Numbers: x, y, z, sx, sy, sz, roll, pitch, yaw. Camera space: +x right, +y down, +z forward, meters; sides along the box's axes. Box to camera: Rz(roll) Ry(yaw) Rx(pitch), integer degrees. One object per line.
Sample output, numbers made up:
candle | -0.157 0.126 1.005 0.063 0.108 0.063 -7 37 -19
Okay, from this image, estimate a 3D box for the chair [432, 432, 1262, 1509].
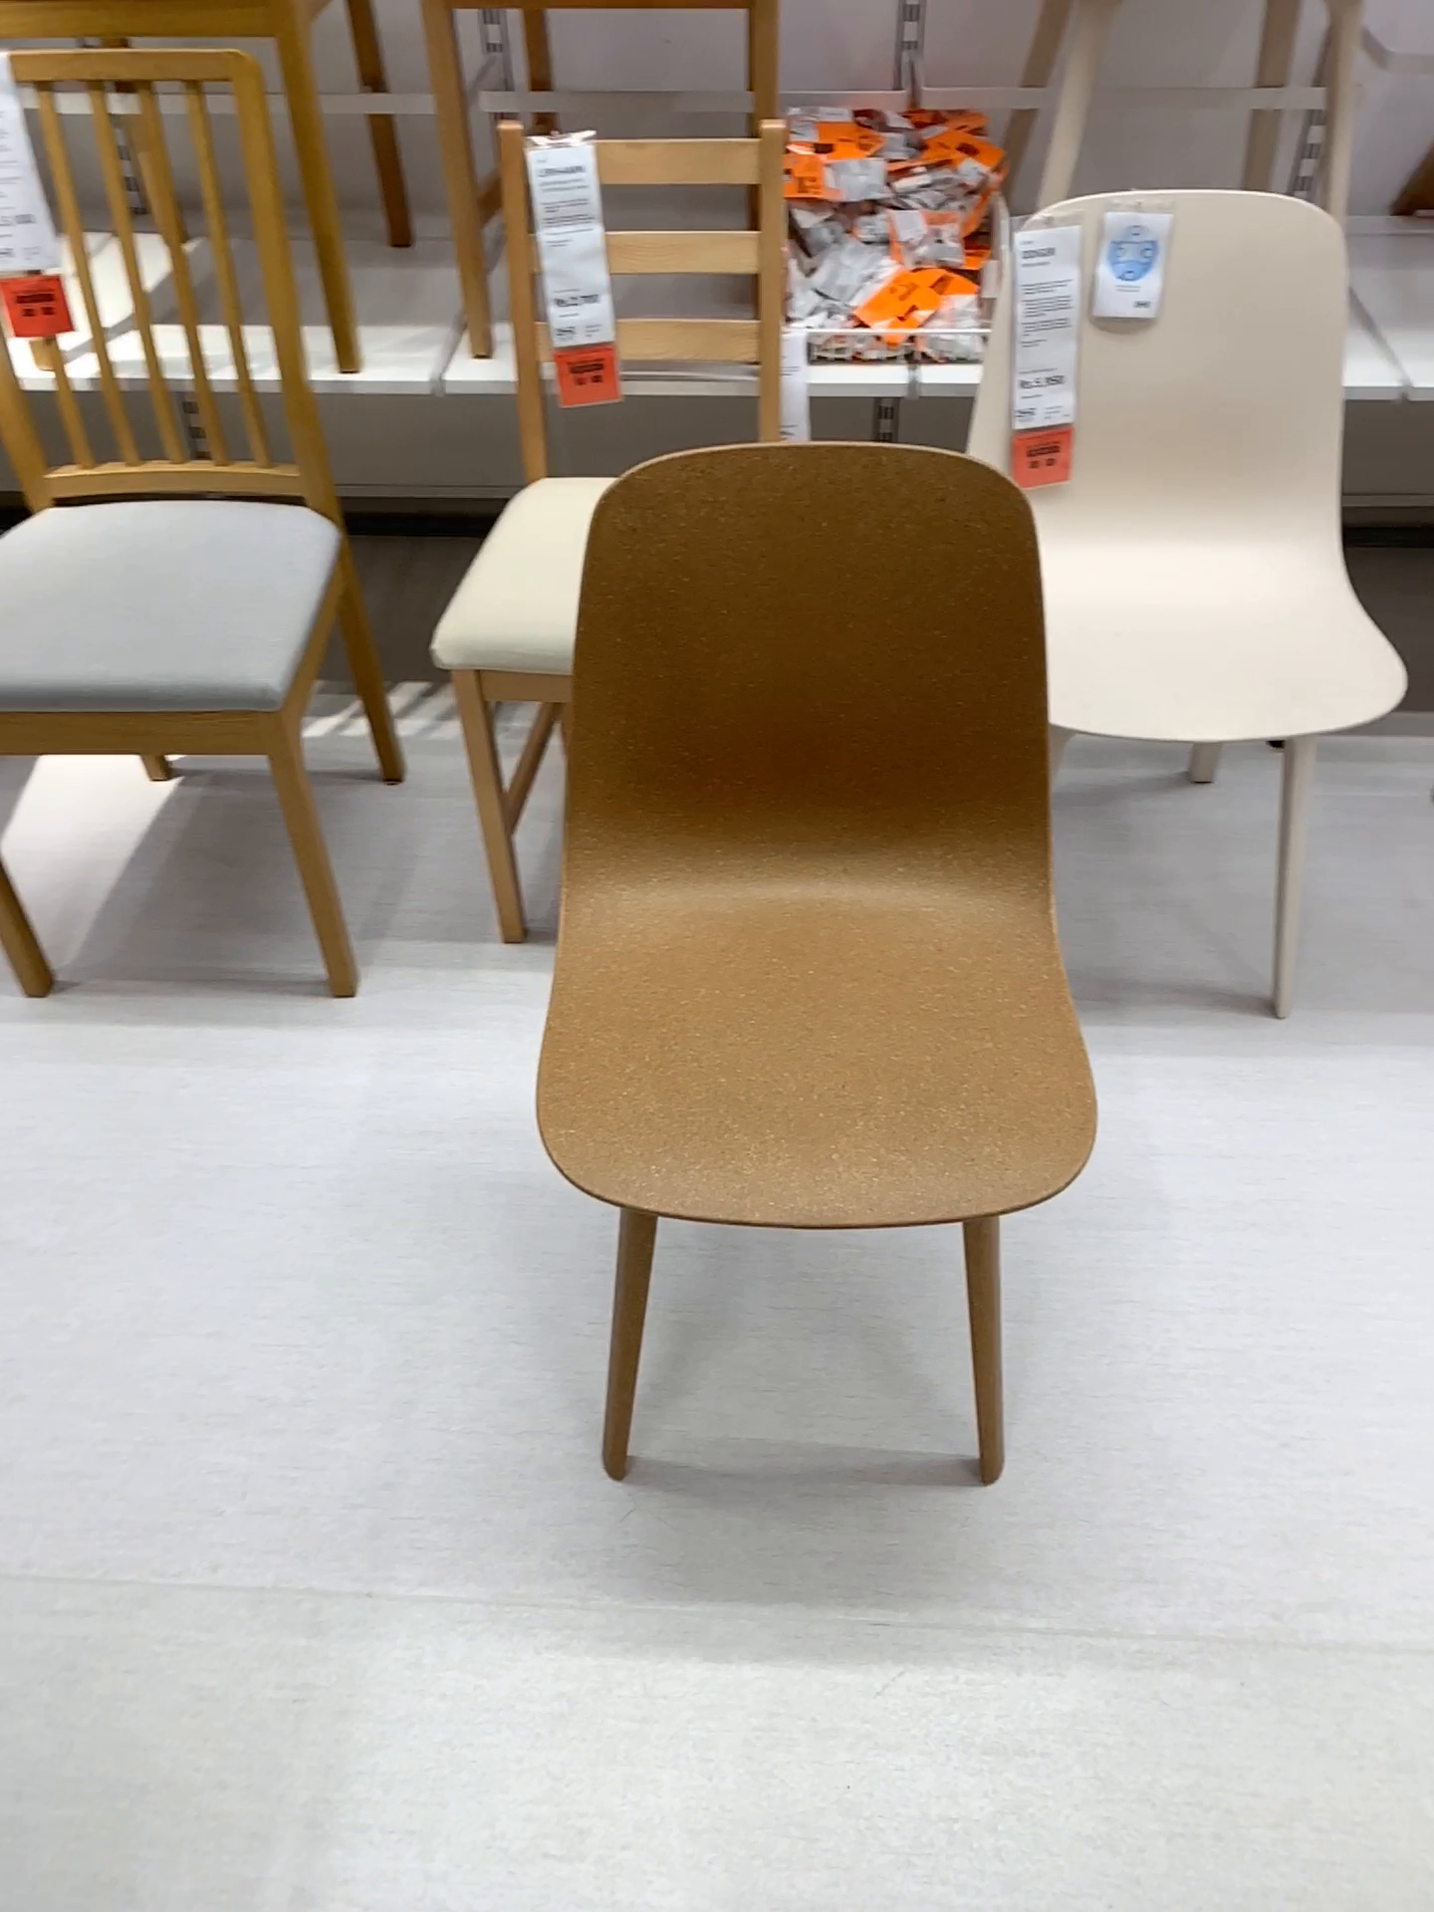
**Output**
chair | 0.088 0.031 1.274 0.460 0.757 0.562 1 44 2
